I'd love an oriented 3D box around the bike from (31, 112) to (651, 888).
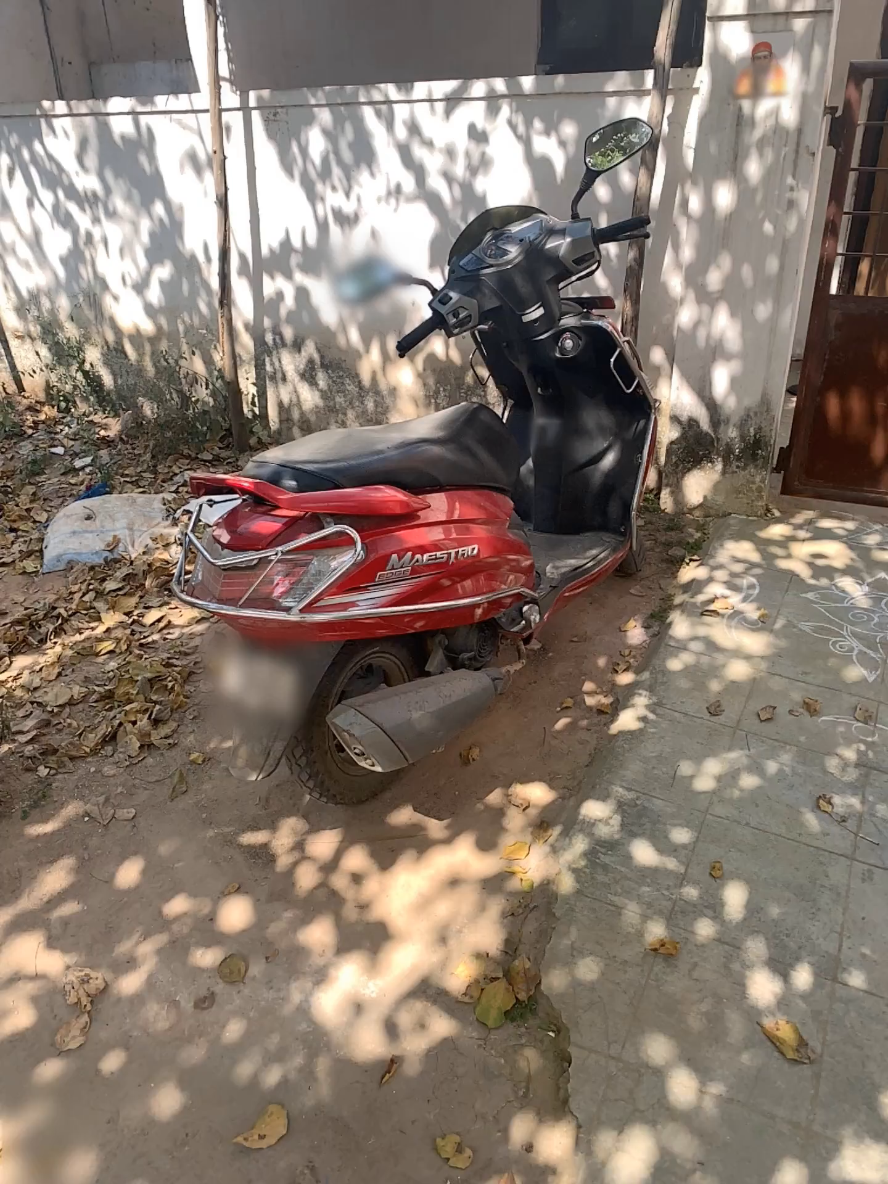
[{"bbox_3d":[-0.070,-0.474,2.409,0.736,1.155,1.766,12,36,24],"label":"bike"}]
